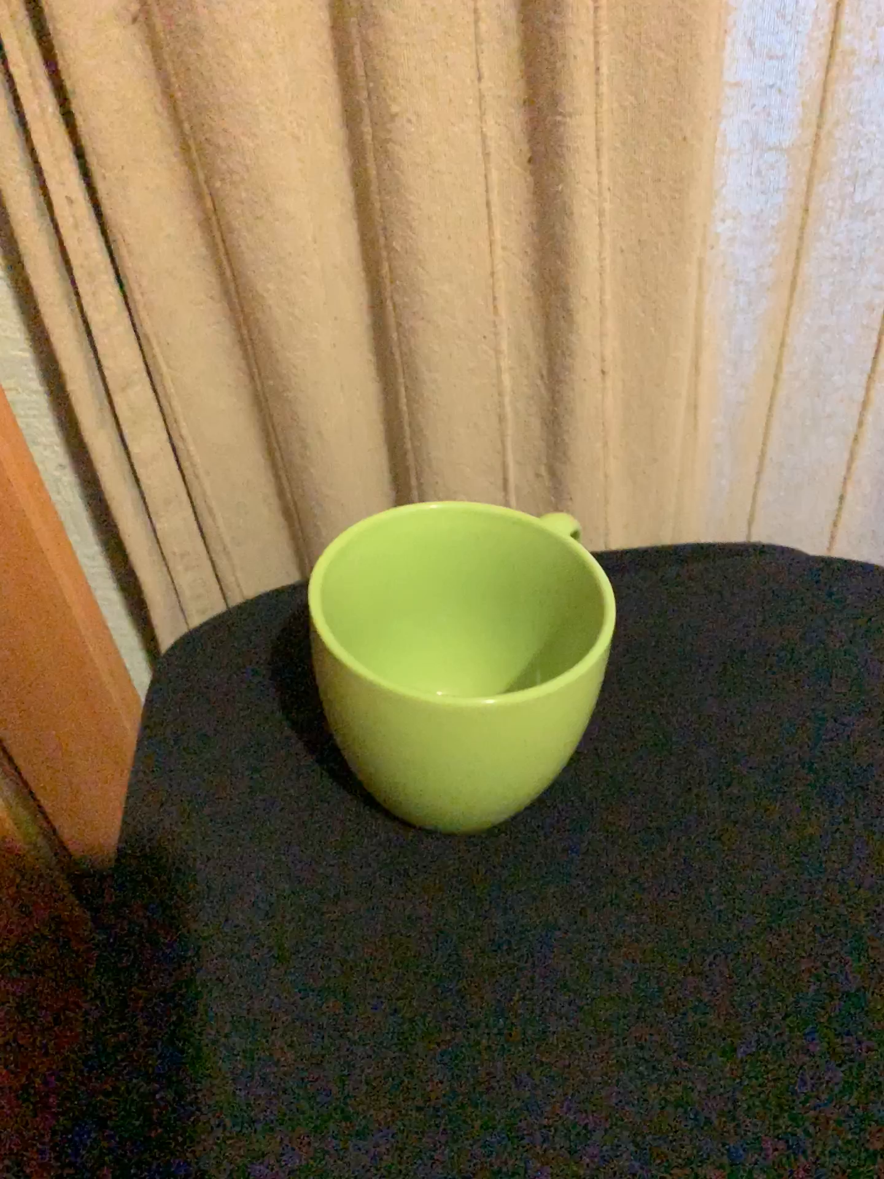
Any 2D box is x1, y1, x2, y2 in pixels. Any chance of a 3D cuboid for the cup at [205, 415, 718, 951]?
[{"bbox_3d":[0.010,0.019,0.277,0.090,0.069,0.125,25,48,23],"label":"cup"}]
